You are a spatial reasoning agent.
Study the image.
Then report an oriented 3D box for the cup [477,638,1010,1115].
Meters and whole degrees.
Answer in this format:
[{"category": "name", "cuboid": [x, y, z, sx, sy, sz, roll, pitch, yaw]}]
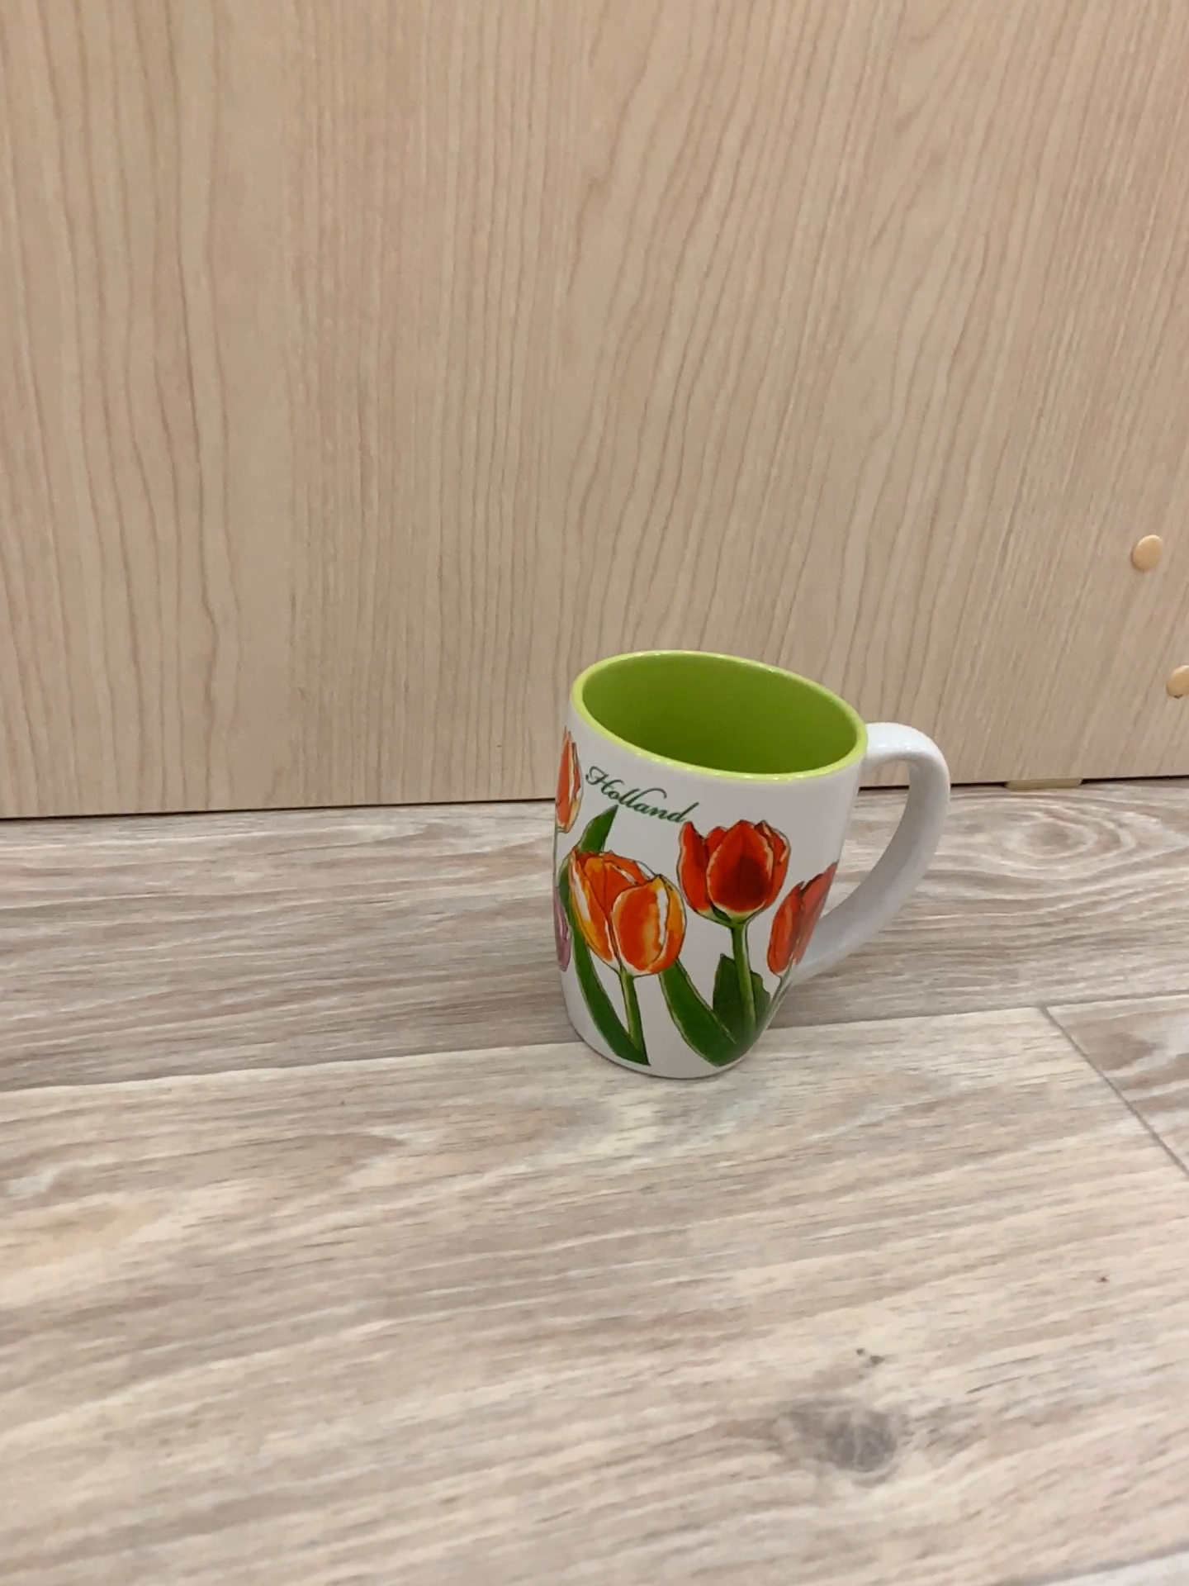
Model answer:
[{"category": "cup", "cuboid": [0.037, 0.019, 0.368, 0.118, 0.101, 0.084, -5, 30, -23]}]
